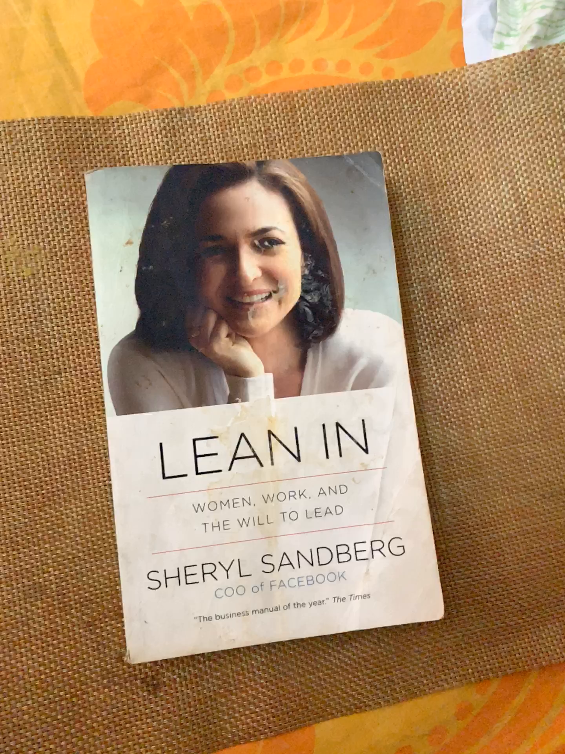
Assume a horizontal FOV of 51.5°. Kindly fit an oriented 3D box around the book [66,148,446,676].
[{"bbox_3d":[-0.014,0.008,0.264,0.141,0.026,0.212,-6,83,-5],"label":"book"}]
